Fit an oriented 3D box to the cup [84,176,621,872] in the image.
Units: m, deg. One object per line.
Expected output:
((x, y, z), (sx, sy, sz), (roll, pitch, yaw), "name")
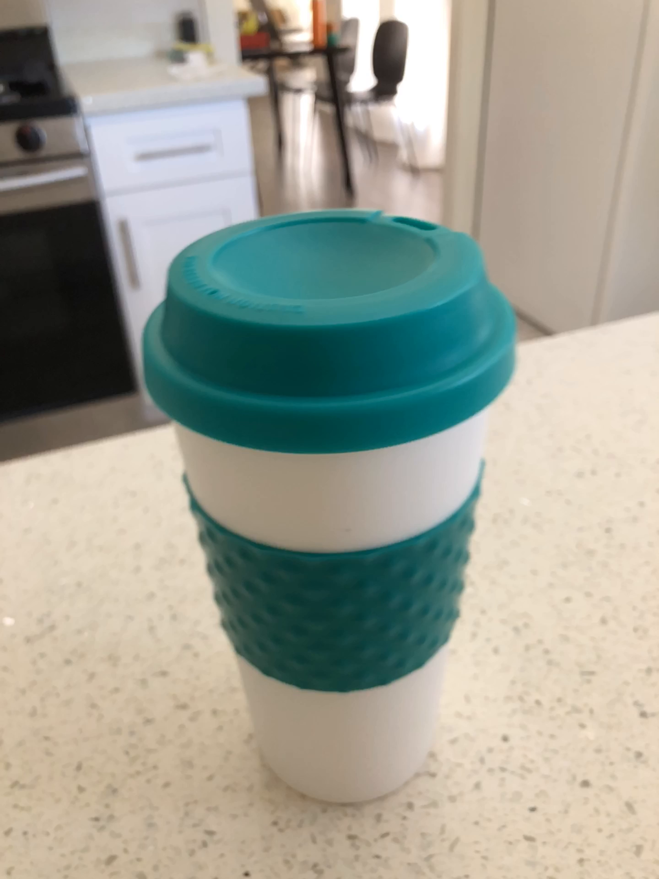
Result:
((0.002, 0.024, 0.224), (0.100, 0.169, 0.100), (-2, 32, 1), "cup")
